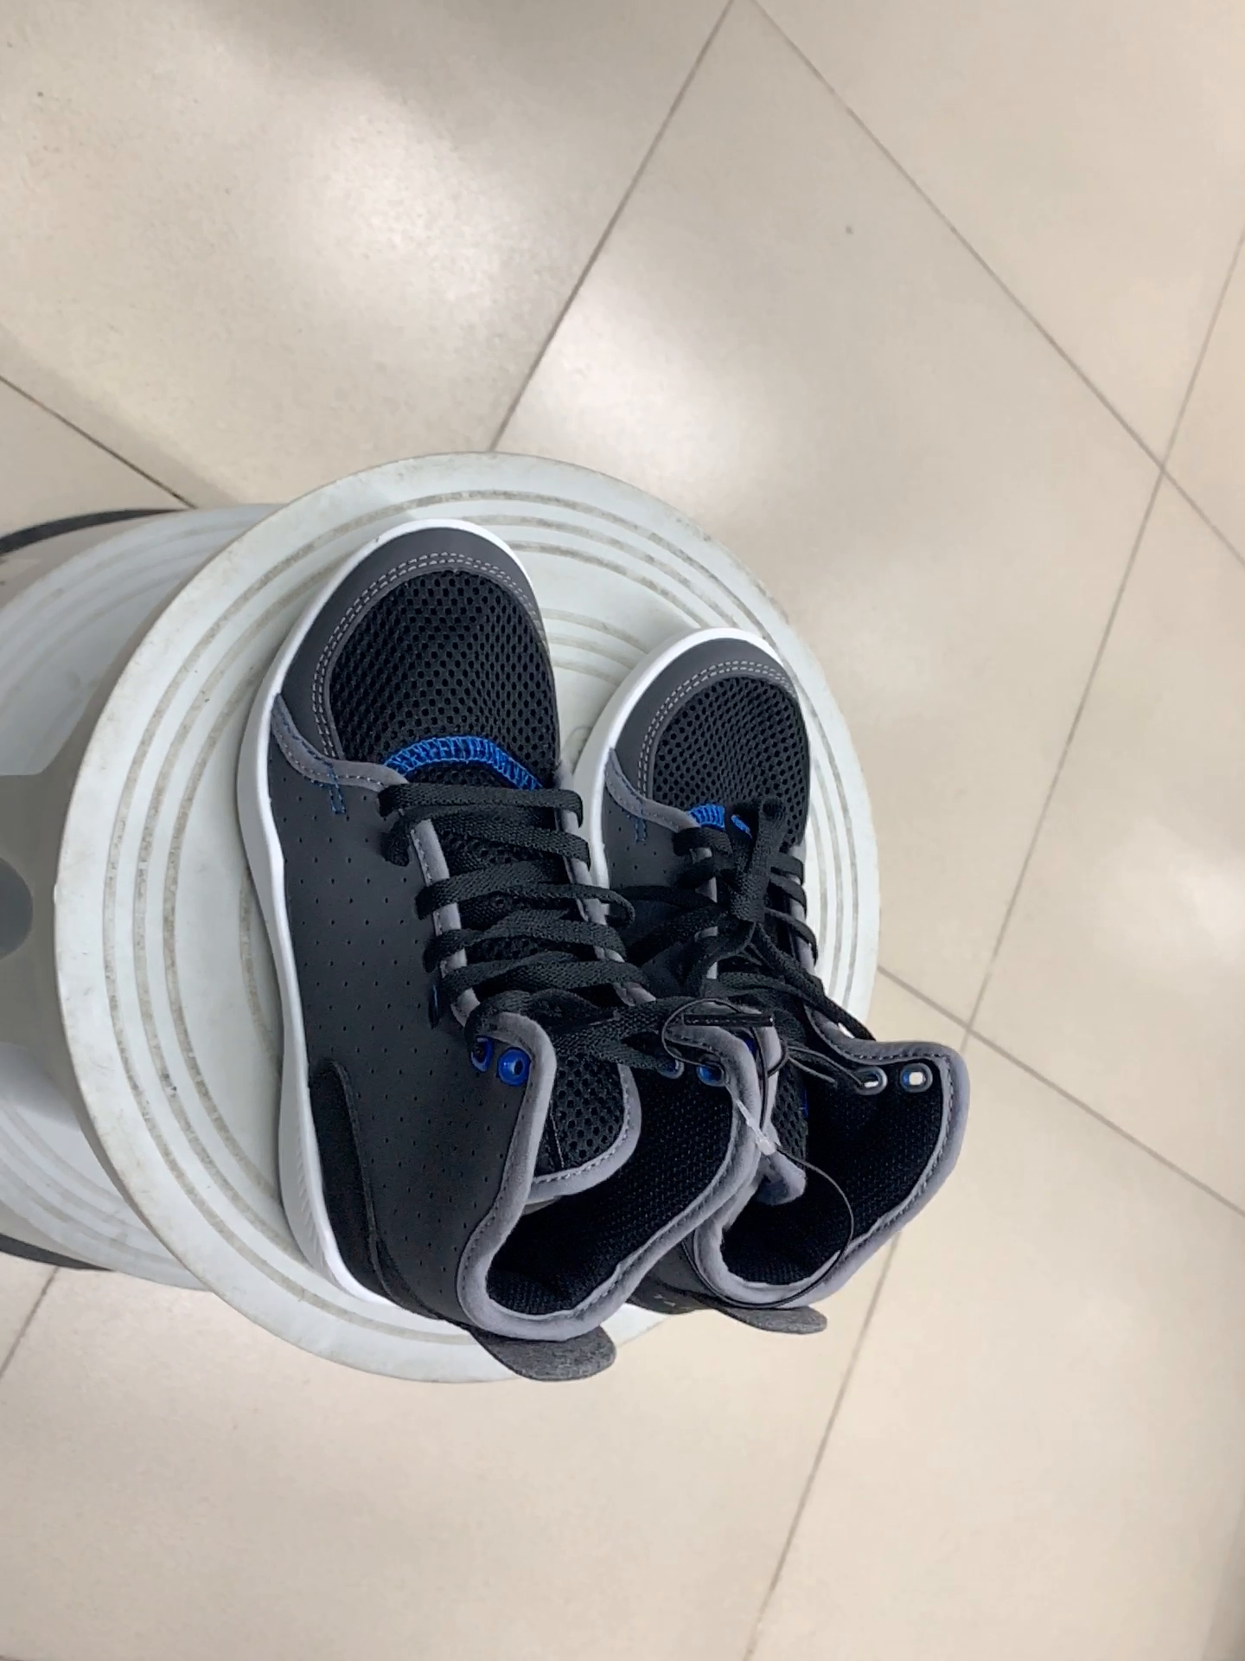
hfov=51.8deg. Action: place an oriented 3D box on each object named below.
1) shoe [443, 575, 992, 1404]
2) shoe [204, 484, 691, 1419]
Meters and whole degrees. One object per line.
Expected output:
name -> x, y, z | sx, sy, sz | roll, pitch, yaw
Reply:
shoe -> 0.024, 0.043, 0.380 | 0.080, 0.120, 0.200 | 13, 82, -32
shoe -> -0.049, 0.027, 0.341 | 0.090, 0.100, 0.200 | 2, 88, -33
